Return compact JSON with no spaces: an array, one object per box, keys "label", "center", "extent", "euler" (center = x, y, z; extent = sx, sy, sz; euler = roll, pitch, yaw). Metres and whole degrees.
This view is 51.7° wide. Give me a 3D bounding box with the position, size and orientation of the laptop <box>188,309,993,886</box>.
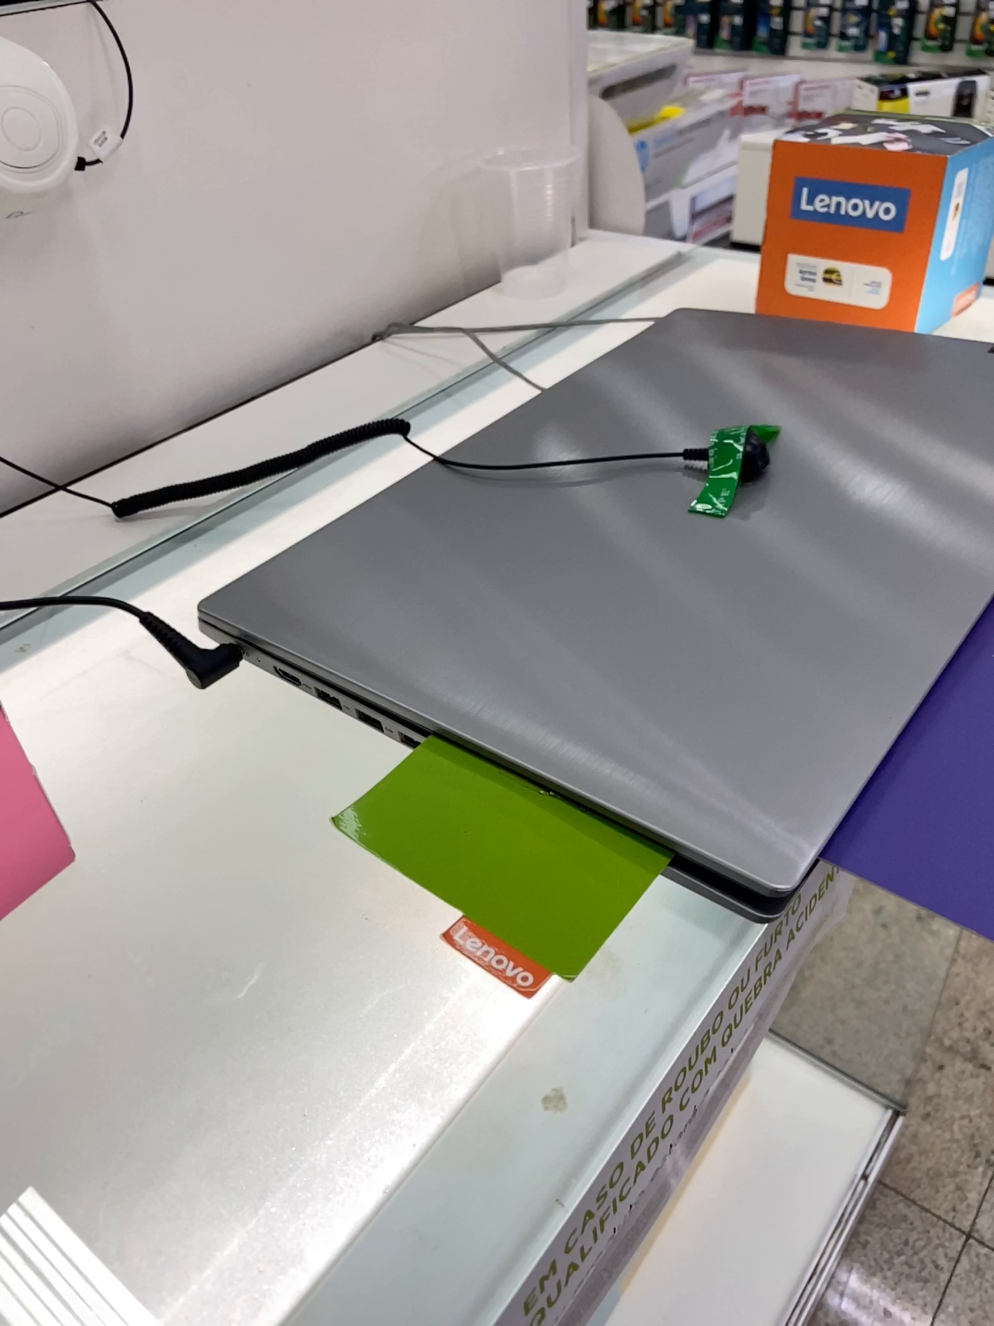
[{"label":"laptop","center":[0.088,-0.076,0.437],"extent":[0.240,0.001,0.363],"euler":[23,46,31]}]
